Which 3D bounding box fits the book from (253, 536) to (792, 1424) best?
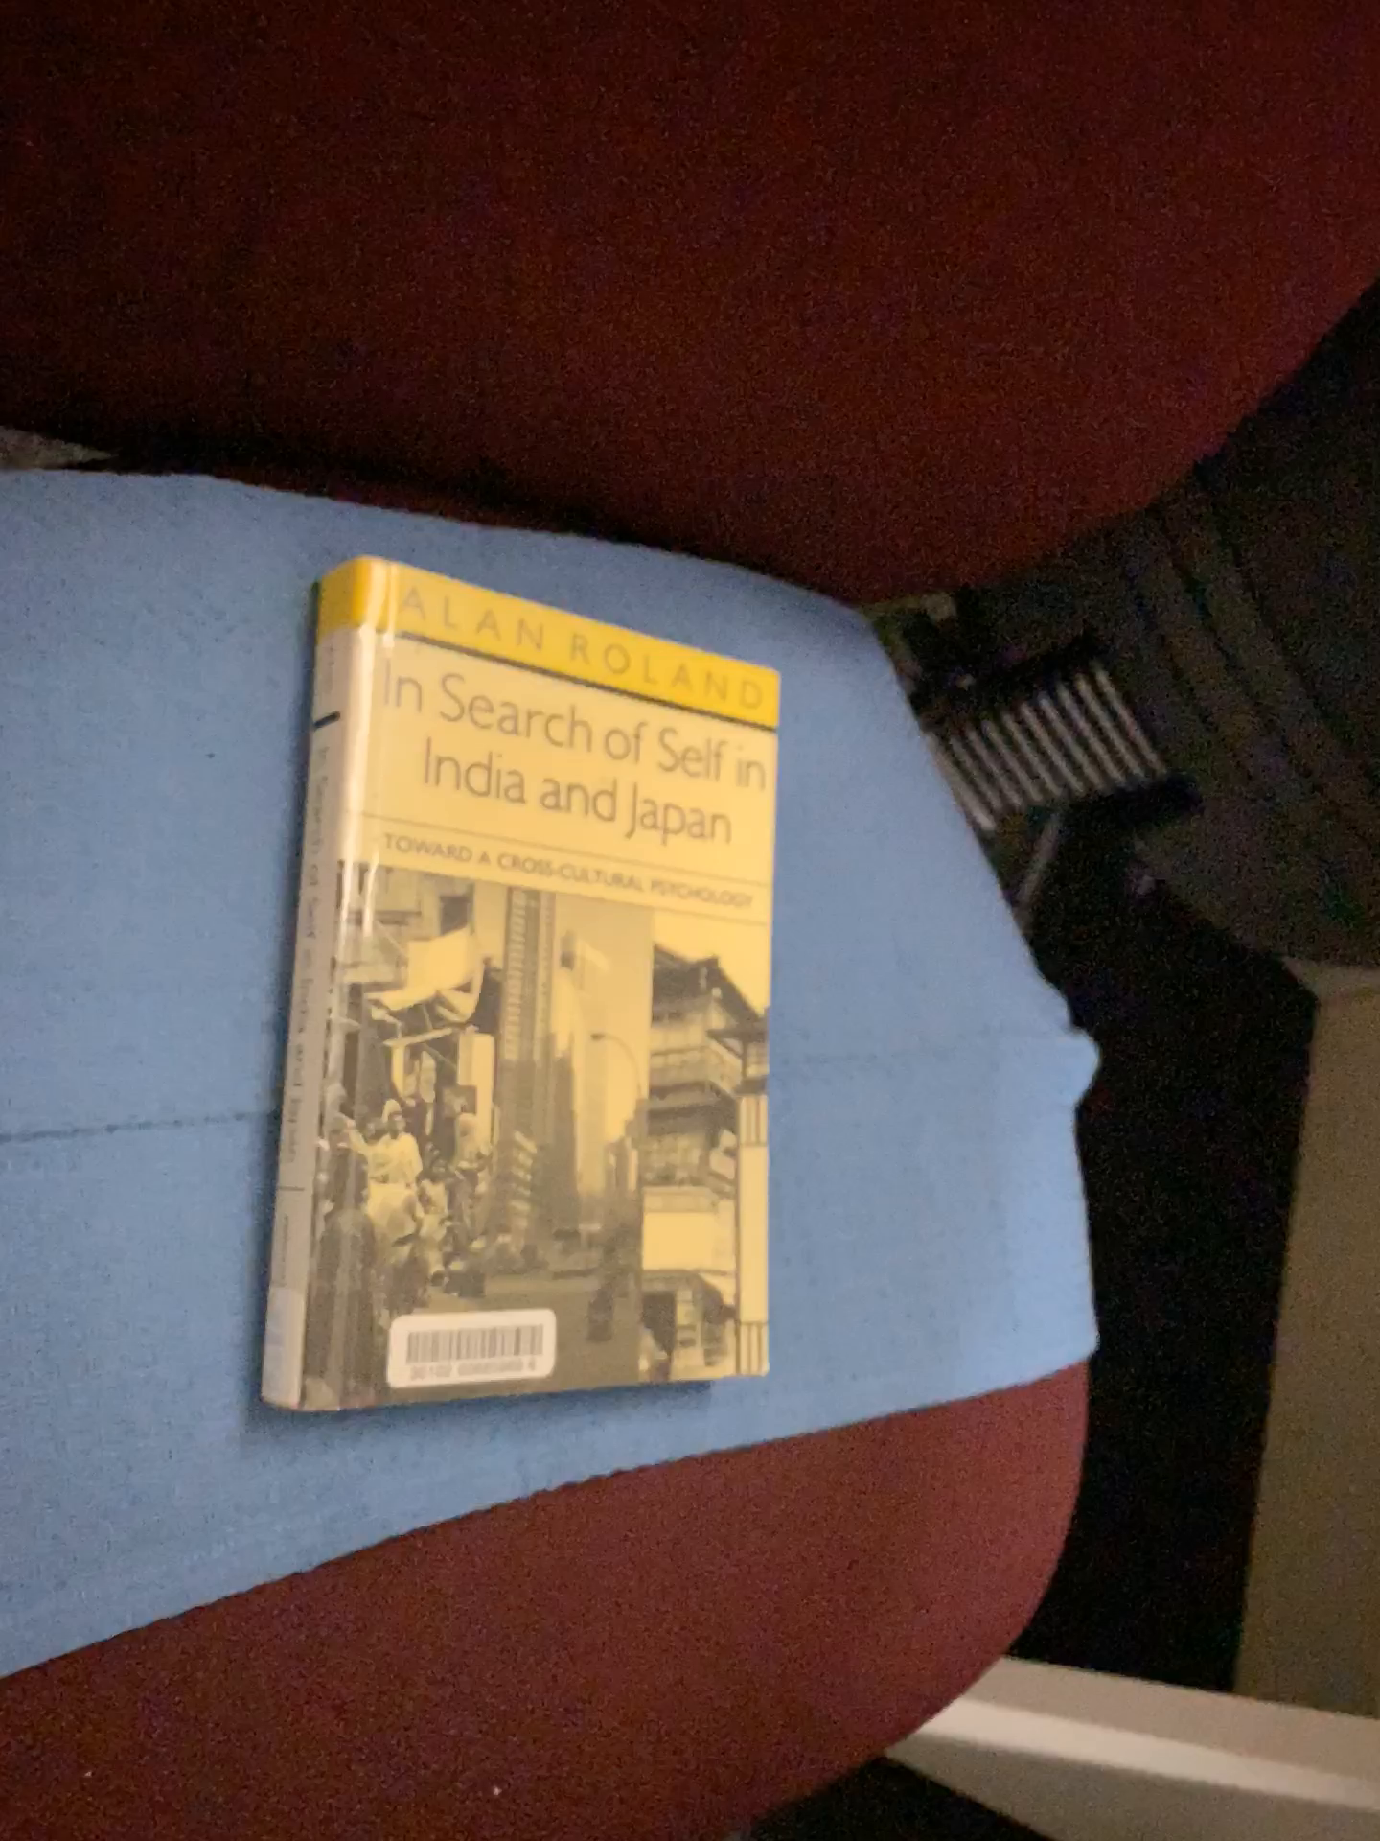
[{"bbox_3d":[-0.040,0.020,0.428,0.156,0.032,0.232,9,76,-36],"label":"book"}]
